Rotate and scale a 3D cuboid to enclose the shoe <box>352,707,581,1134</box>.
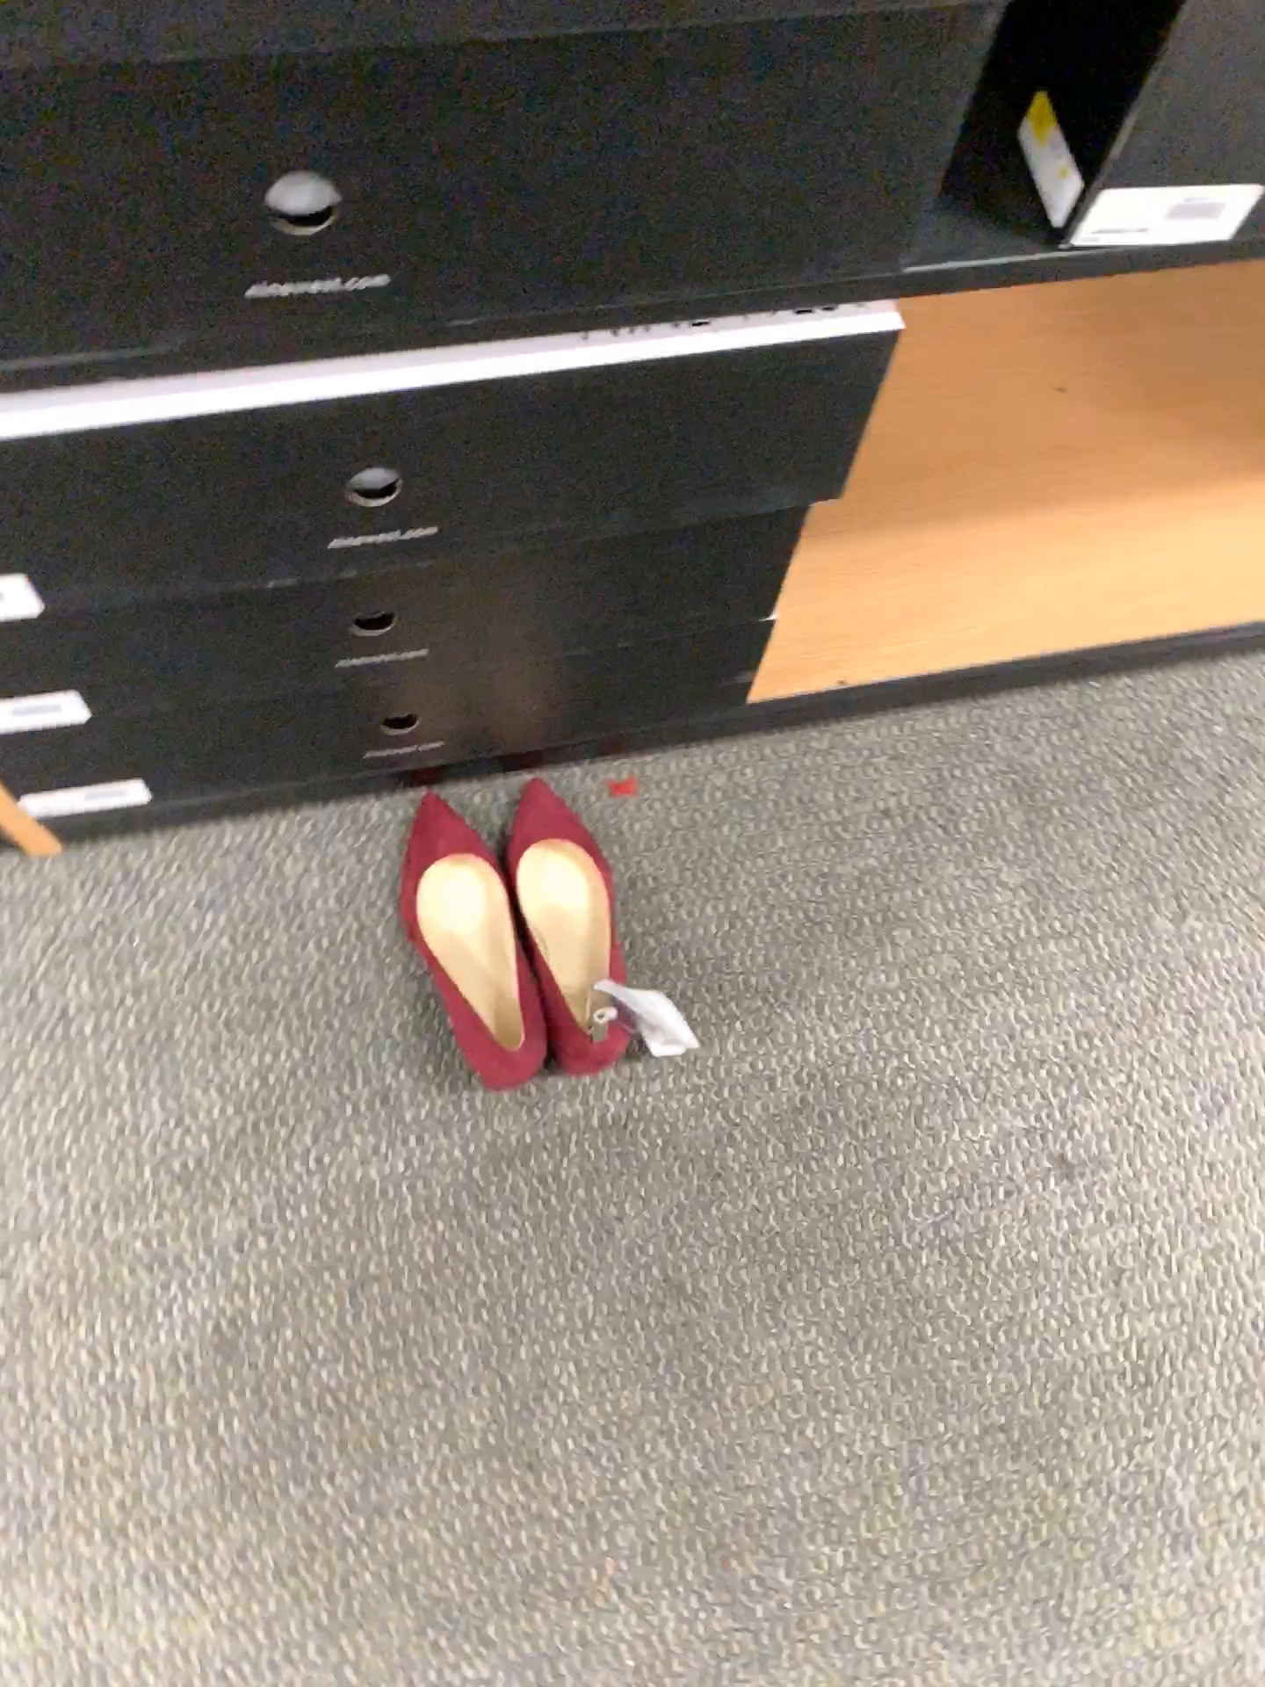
[{"bbox_3d":[-0.120,0.064,0.933,0.090,0.200,0.250,-14,72,-10],"label":"shoe"}]

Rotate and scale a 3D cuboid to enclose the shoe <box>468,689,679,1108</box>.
[{"bbox_3d":[-0.051,0.048,0.950,0.090,0.200,0.250,-11,72,-9],"label":"shoe"}]
